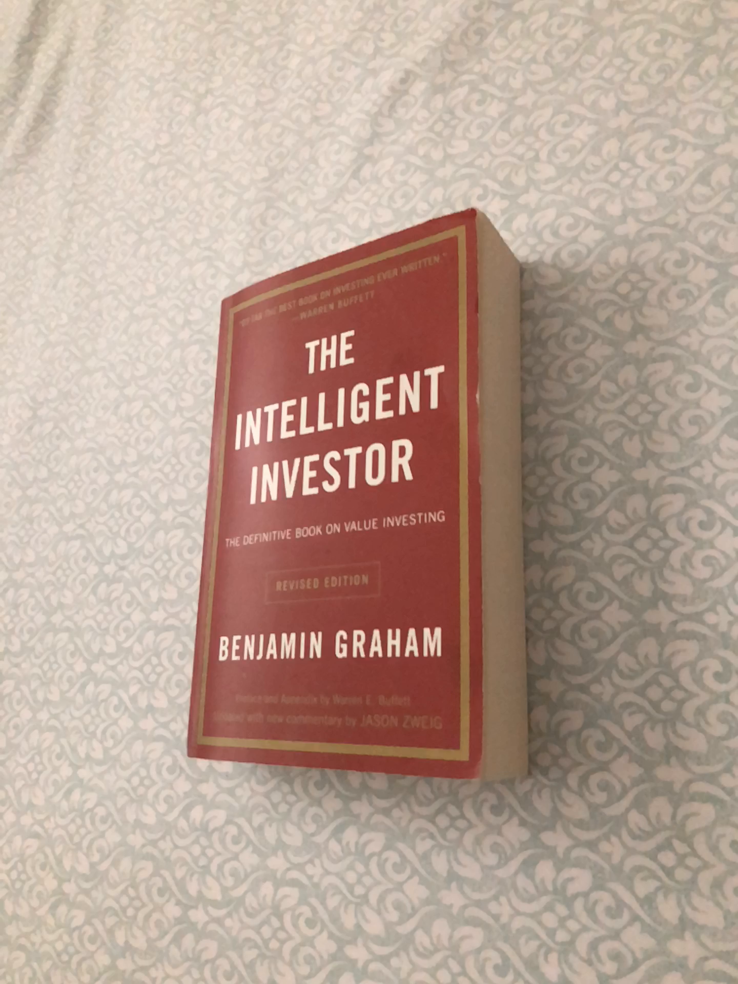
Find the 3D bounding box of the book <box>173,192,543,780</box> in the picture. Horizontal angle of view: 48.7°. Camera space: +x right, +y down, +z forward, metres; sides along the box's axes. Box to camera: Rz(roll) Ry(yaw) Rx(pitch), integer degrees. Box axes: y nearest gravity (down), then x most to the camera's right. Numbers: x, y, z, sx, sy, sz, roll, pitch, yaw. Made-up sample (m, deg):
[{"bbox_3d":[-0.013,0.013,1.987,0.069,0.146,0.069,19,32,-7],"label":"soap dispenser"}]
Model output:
[{"bbox_3d":[-0.006,0.003,0.323,0.130,0.050,0.200,-9,72,33],"label":"book"}]
